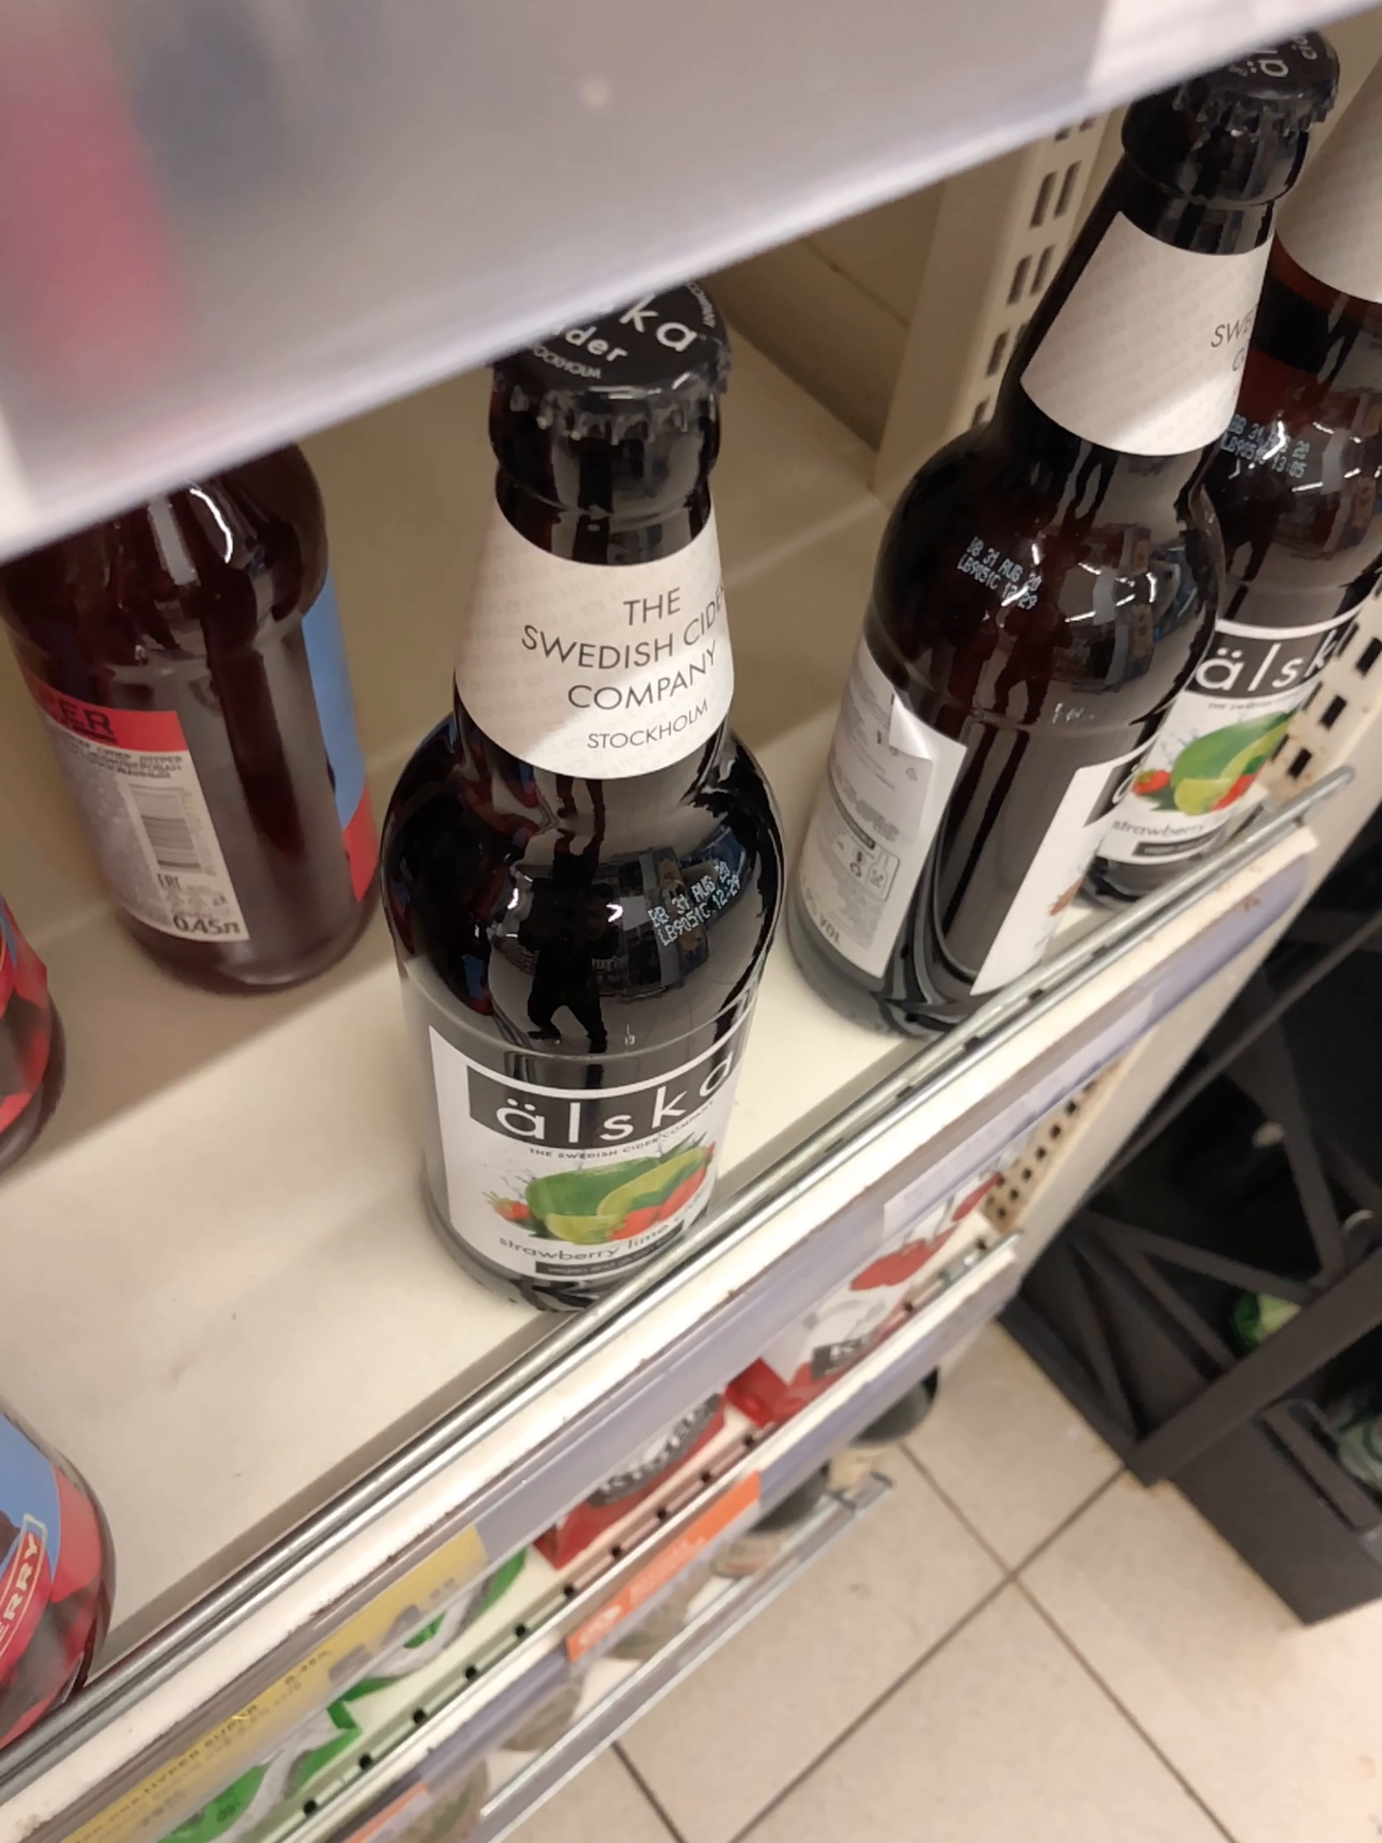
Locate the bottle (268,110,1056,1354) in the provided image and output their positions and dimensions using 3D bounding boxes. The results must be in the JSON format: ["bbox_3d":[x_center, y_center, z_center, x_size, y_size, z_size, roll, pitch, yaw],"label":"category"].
[{"bbox_3d":[-0.015,-0.004,0.273,0.070,0.239,0.070,2,57,-4],"label":"bottle"}]
